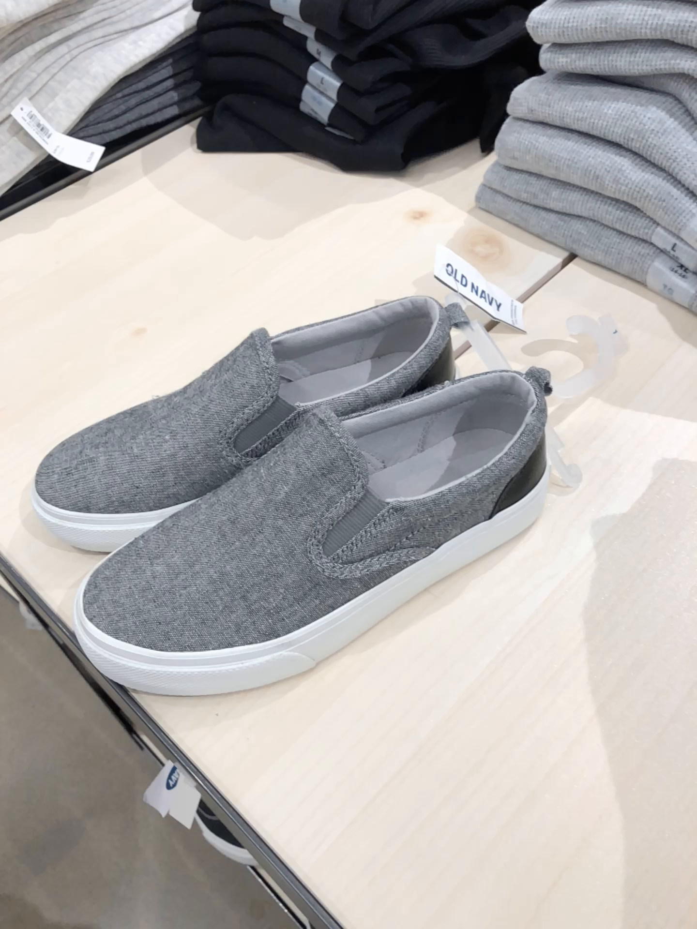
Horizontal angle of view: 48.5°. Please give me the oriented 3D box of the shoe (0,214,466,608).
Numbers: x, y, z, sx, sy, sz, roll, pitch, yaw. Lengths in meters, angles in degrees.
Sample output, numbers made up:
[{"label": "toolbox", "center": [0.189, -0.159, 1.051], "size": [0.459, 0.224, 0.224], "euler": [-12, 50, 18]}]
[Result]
[{"label": "shoe", "center": [-0.058, -0.028, 0.377], "size": [0.210, 0.100, 0.090], "euler": [-18, 48, -8]}]

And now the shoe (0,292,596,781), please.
[{"label": "shoe", "center": [-0.017, 0.026, 0.328], "size": [0.210, 0.100, 0.090], "euler": [-23, 49, -12]}]
